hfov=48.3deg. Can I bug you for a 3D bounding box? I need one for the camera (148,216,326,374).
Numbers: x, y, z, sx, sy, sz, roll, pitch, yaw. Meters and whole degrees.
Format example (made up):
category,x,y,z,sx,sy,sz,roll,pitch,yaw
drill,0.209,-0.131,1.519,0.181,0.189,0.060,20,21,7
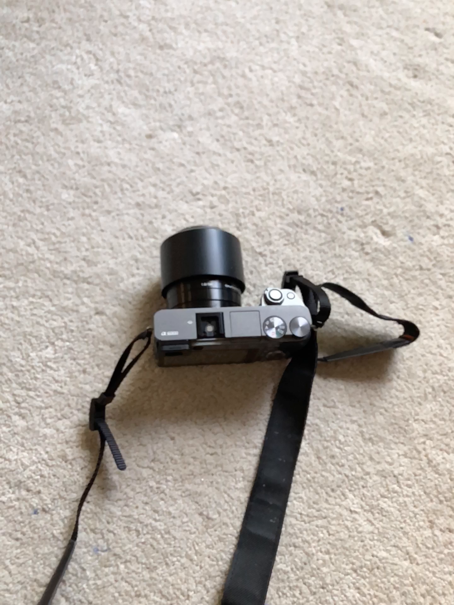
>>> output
category,x,y,z,sx,sy,sz,roll,pitch,yaw
camera,0.001,-0.005,0.394,0.120,0.070,0.100,-2,69,-9
